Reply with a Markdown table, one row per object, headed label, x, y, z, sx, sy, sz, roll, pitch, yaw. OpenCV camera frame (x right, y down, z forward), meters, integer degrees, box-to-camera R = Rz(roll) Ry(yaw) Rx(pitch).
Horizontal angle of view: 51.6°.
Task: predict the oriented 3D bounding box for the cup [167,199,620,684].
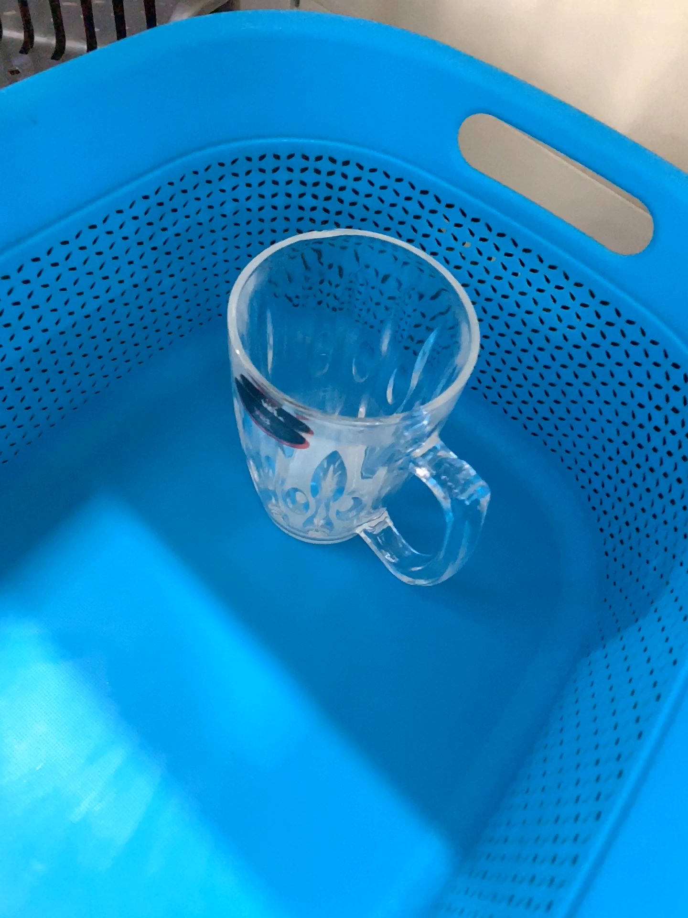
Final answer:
| label | x | y | z | sx | sy | sz | roll | pitch | yaw |
| --- | --- | --- | --- | --- | --- | --- | --- | --- | --- |
| cup | 0.008 | -0.002 | 0.254 | 0.080 | 0.109 | 0.110 | -36 | 70 | -25 |
